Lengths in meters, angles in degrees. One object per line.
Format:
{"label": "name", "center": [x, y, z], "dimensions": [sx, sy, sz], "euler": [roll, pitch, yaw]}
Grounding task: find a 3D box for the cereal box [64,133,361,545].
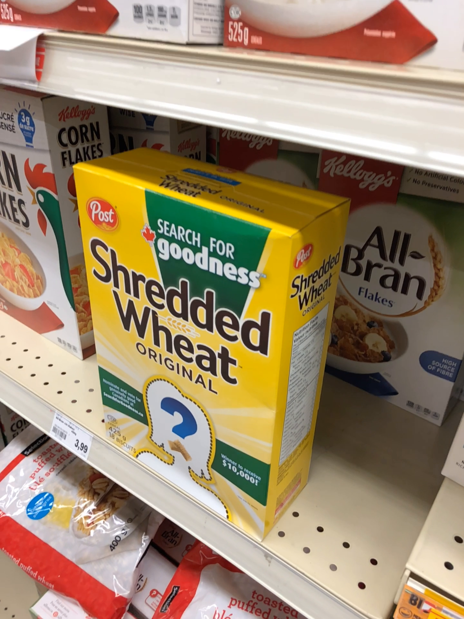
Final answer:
{"label": "cereal box", "center": [-0.024, 0.023, 0.430], "dimensions": [0.201, 0.288, 0.080], "euler": [22, 36, 30]}
